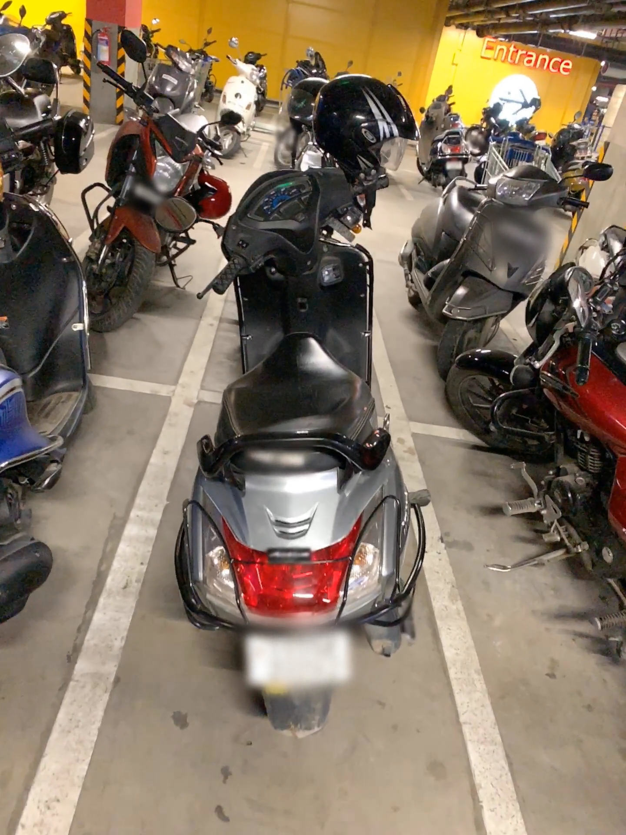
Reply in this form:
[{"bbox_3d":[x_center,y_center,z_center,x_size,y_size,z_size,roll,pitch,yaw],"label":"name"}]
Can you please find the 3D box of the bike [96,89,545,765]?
[{"bbox_3d":[-0.108,-0.143,1.799,0.630,1.089,1.542,7,33,-9],"label":"bike"}]
